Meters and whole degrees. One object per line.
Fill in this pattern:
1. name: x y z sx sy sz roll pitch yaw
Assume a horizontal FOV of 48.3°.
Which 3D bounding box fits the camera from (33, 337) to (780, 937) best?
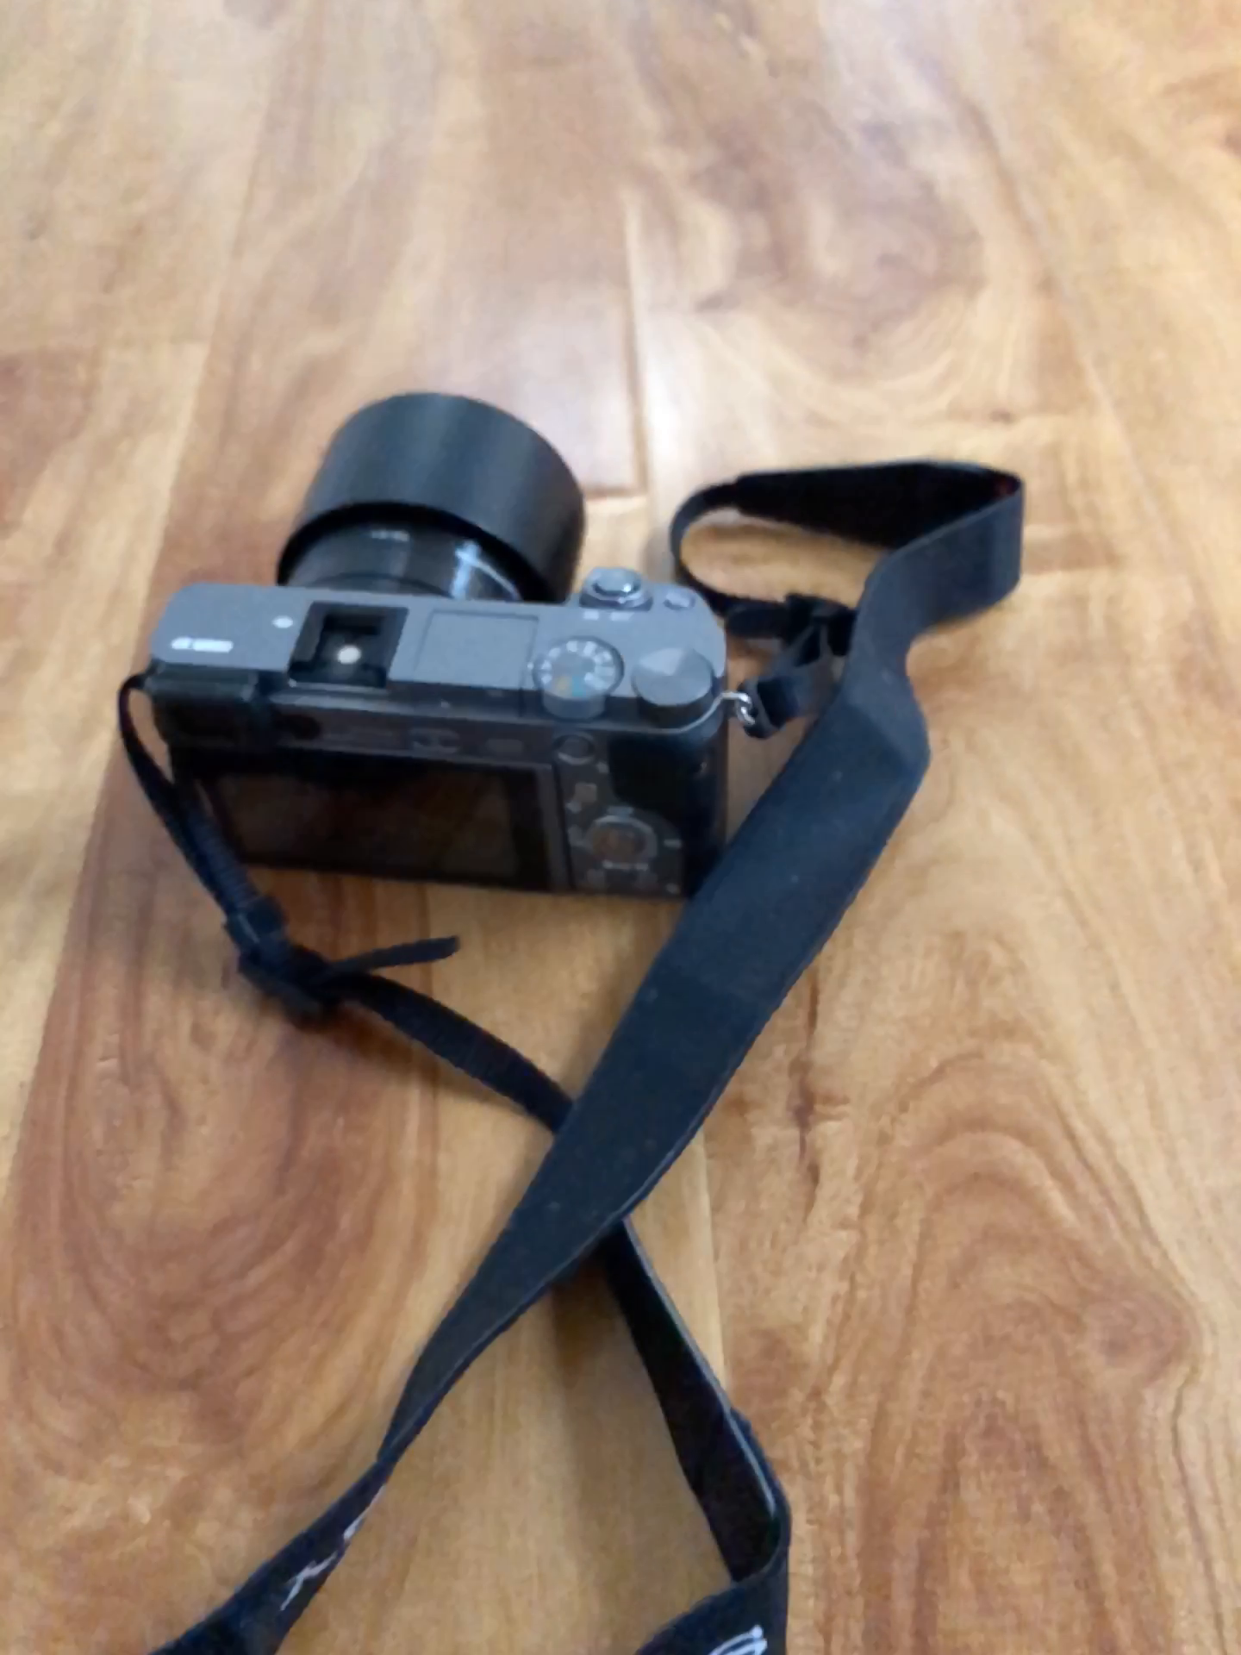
1. camera: -0.038 -0.048 0.331 0.140 0.080 0.110 5 52 8
